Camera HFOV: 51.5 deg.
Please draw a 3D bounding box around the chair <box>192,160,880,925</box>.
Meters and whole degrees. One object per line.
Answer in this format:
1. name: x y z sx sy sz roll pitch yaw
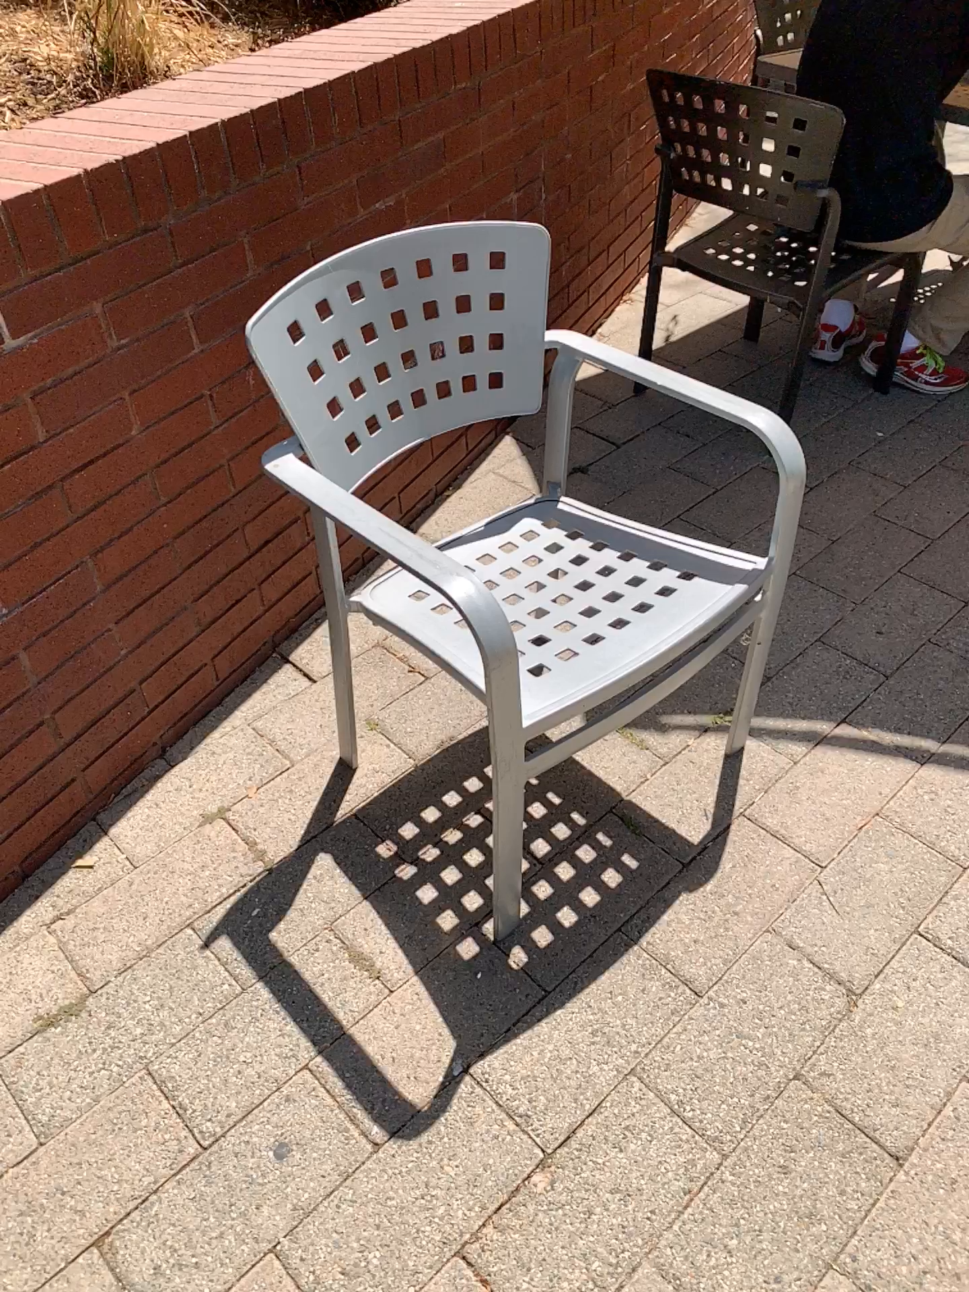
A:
1. chair: 0.069 -0.159 1.320 0.557 0.698 0.504 -33 48 -30
